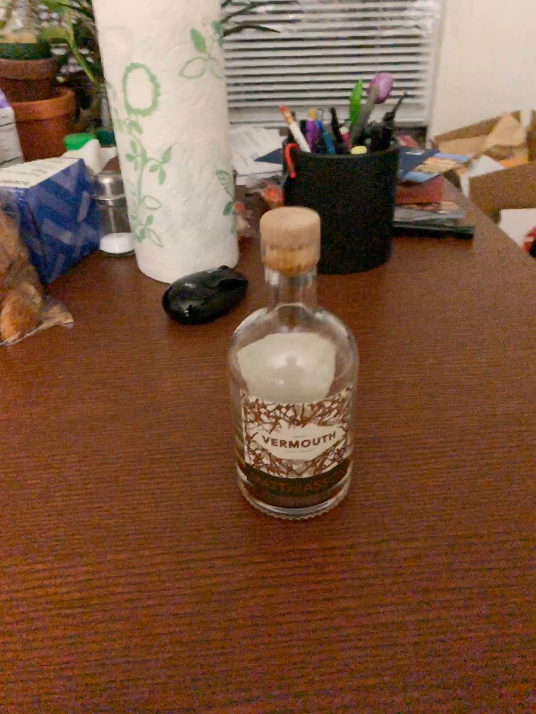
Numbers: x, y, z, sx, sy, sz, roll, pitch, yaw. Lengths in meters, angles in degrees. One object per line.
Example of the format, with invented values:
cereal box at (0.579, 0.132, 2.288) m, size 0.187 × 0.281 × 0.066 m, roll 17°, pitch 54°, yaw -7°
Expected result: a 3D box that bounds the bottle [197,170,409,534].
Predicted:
bottle at (0.014, 0.002, 0.318) m, size 0.090 × 0.189 × 0.081 m, roll -4°, pitch 34°, yaw -3°
